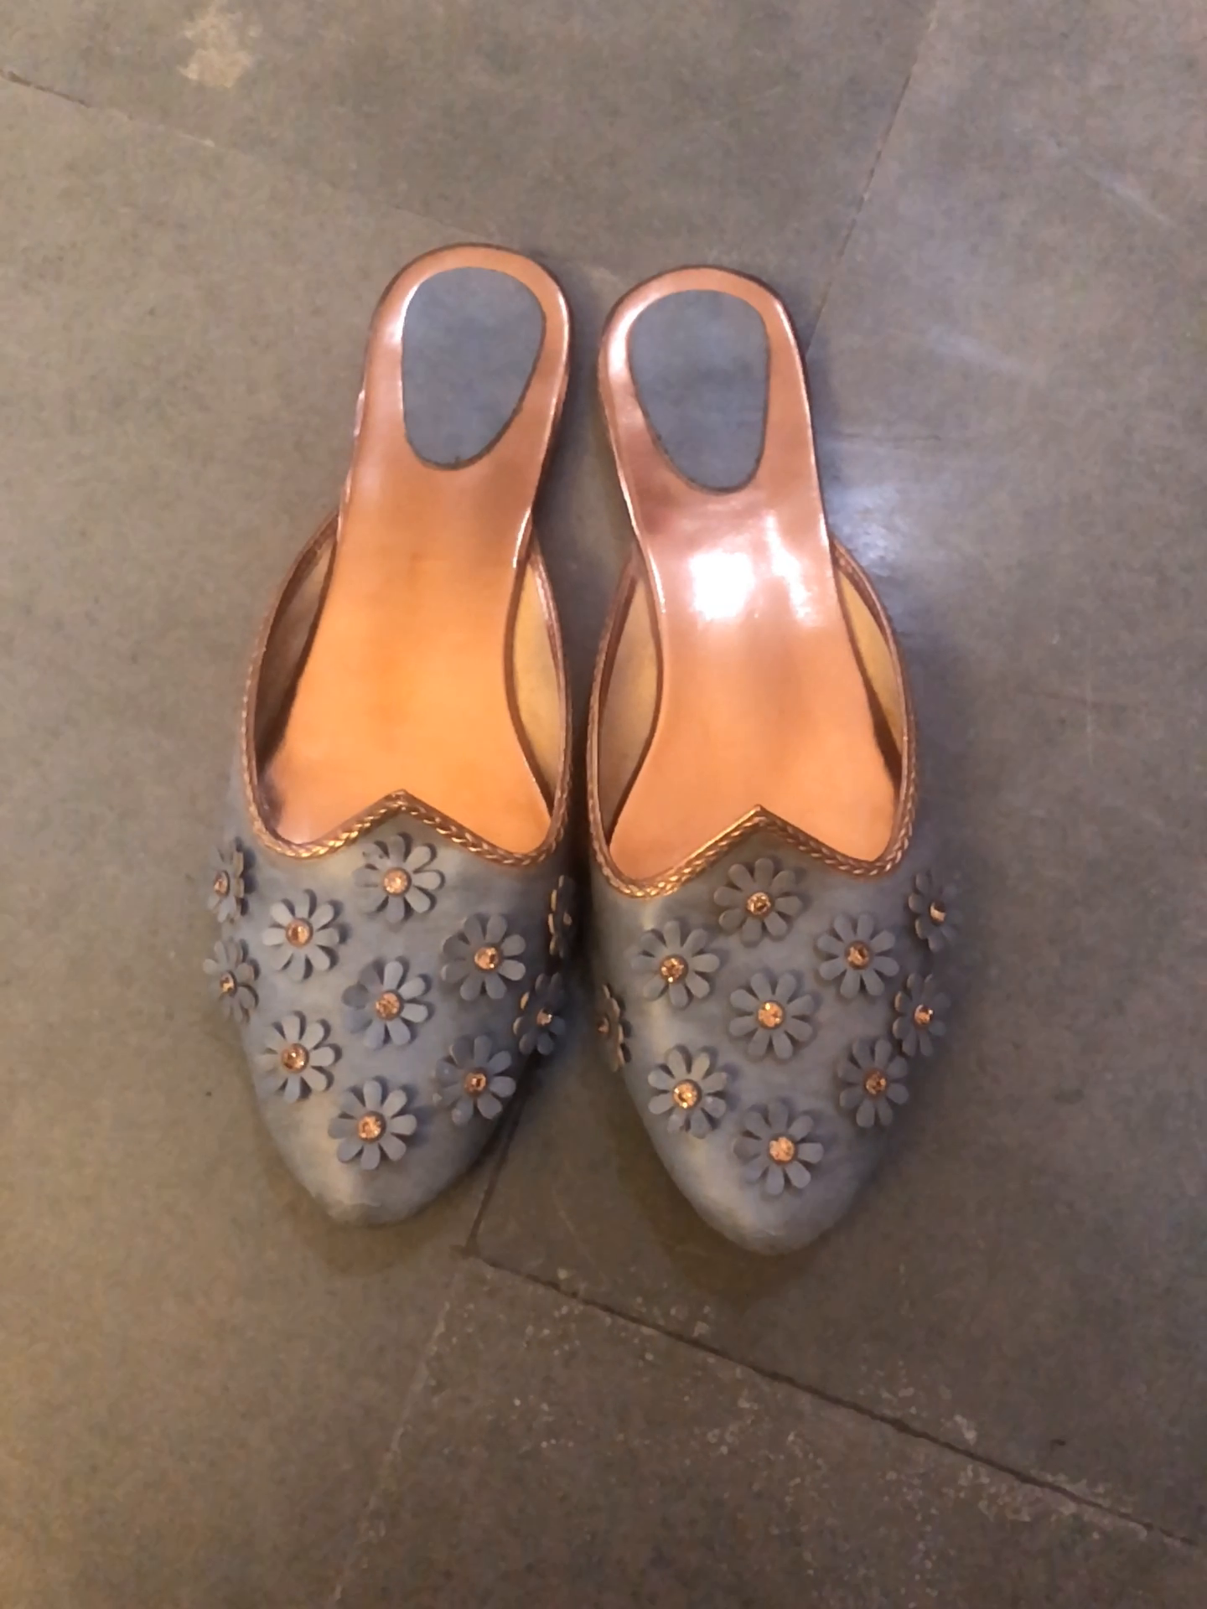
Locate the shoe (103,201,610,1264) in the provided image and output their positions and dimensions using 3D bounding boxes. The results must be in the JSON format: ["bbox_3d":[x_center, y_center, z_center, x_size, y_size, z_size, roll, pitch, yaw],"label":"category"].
[{"bbox_3d":[-0.056,-0.025,0.358,0.100,0.050,0.270,3,77,1],"label":"shoe"}]

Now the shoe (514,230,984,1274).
[{"bbox_3d":[0.031,-0.020,0.364,0.100,0.050,0.270,-2,77,-1],"label":"shoe"}]
